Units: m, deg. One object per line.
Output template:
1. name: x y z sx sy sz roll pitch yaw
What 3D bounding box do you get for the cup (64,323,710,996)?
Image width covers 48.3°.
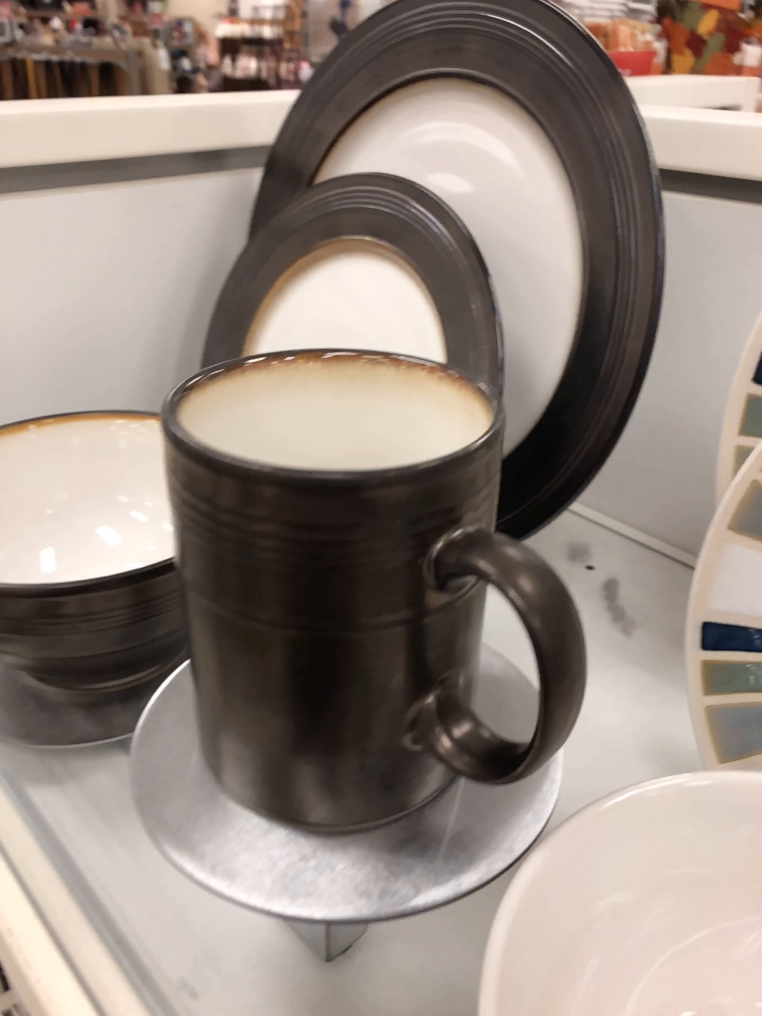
1. cup: -0.001 0.024 0.215 0.119 0.102 0.083 22 34 32
